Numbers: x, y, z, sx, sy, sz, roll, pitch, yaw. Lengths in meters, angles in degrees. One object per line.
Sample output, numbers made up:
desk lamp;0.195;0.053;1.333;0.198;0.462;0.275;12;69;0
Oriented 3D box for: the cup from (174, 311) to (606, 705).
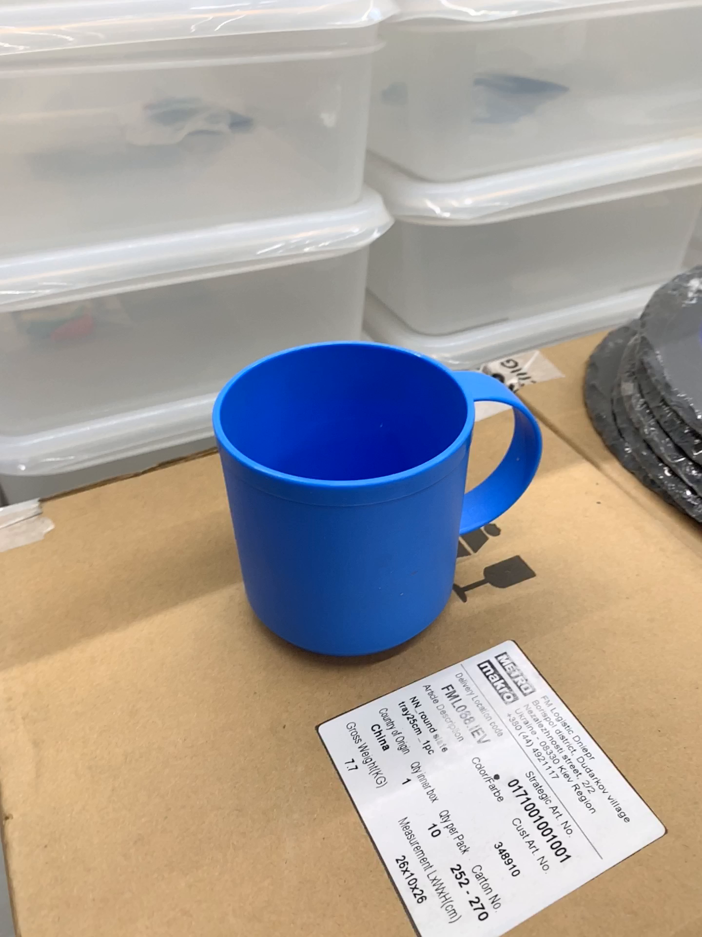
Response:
cup;0.008;0.006;0.252;0.109;0.071;0.089;-15;39;-16
